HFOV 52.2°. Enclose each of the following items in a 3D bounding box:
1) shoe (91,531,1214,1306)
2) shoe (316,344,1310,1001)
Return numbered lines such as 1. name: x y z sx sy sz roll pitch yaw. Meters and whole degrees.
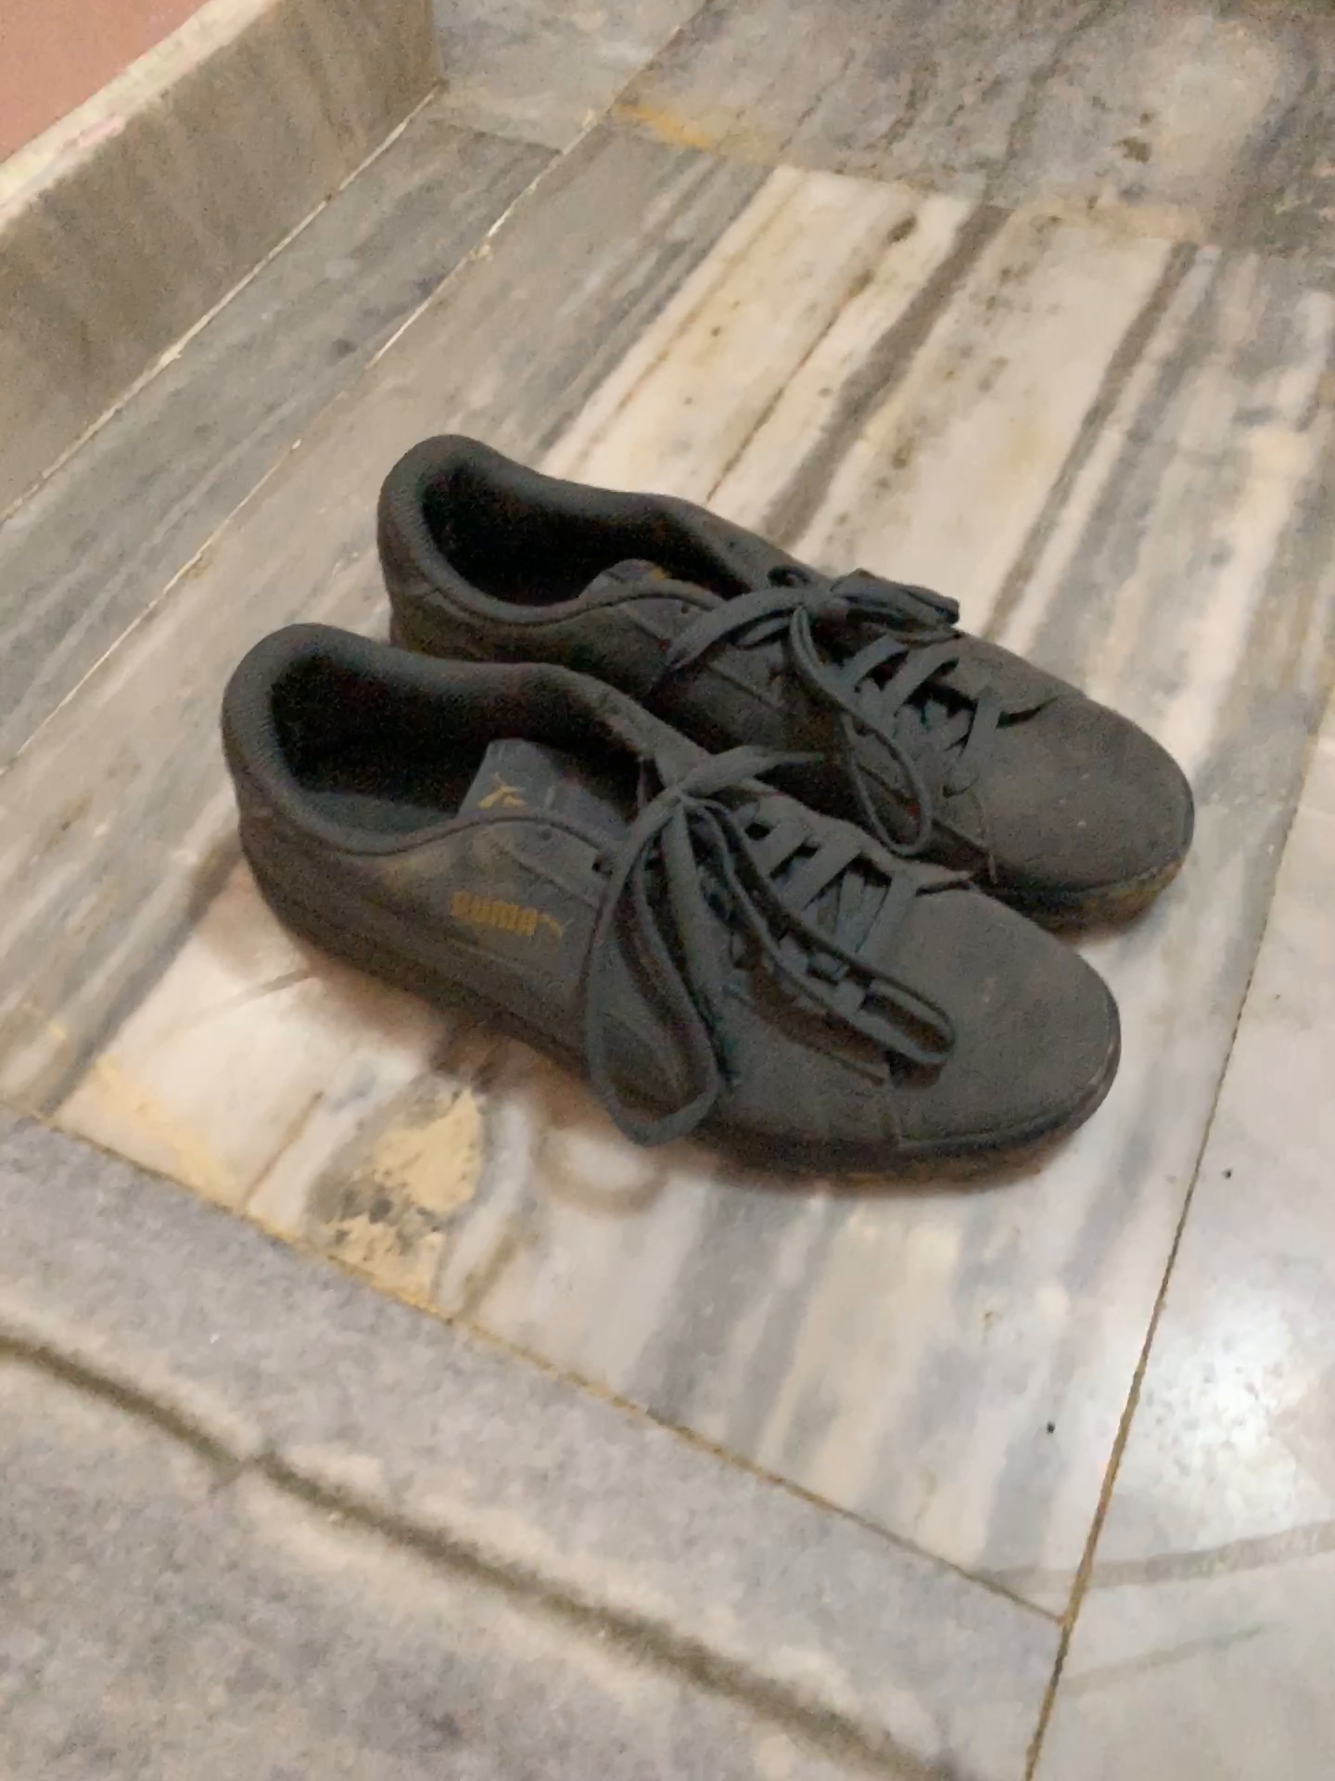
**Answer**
1. shoe: -0.008 0.001 0.415 0.290 0.100 0.110 20 60 17
2. shoe: 0.043 -0.082 0.470 0.290 0.100 0.110 20 60 17
